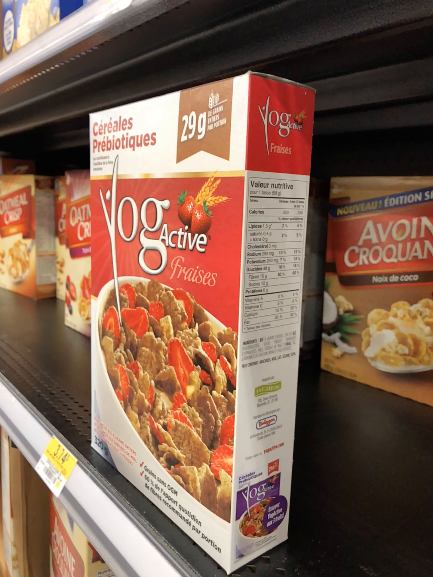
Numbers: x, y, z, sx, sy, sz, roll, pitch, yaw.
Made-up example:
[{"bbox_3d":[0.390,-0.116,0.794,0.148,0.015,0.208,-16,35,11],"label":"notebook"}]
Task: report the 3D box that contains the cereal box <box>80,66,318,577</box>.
[{"bbox_3d":[-0.031,0.015,0.351,0.050,0.289,0.200,-6,13,-39],"label":"cereal box"}]
